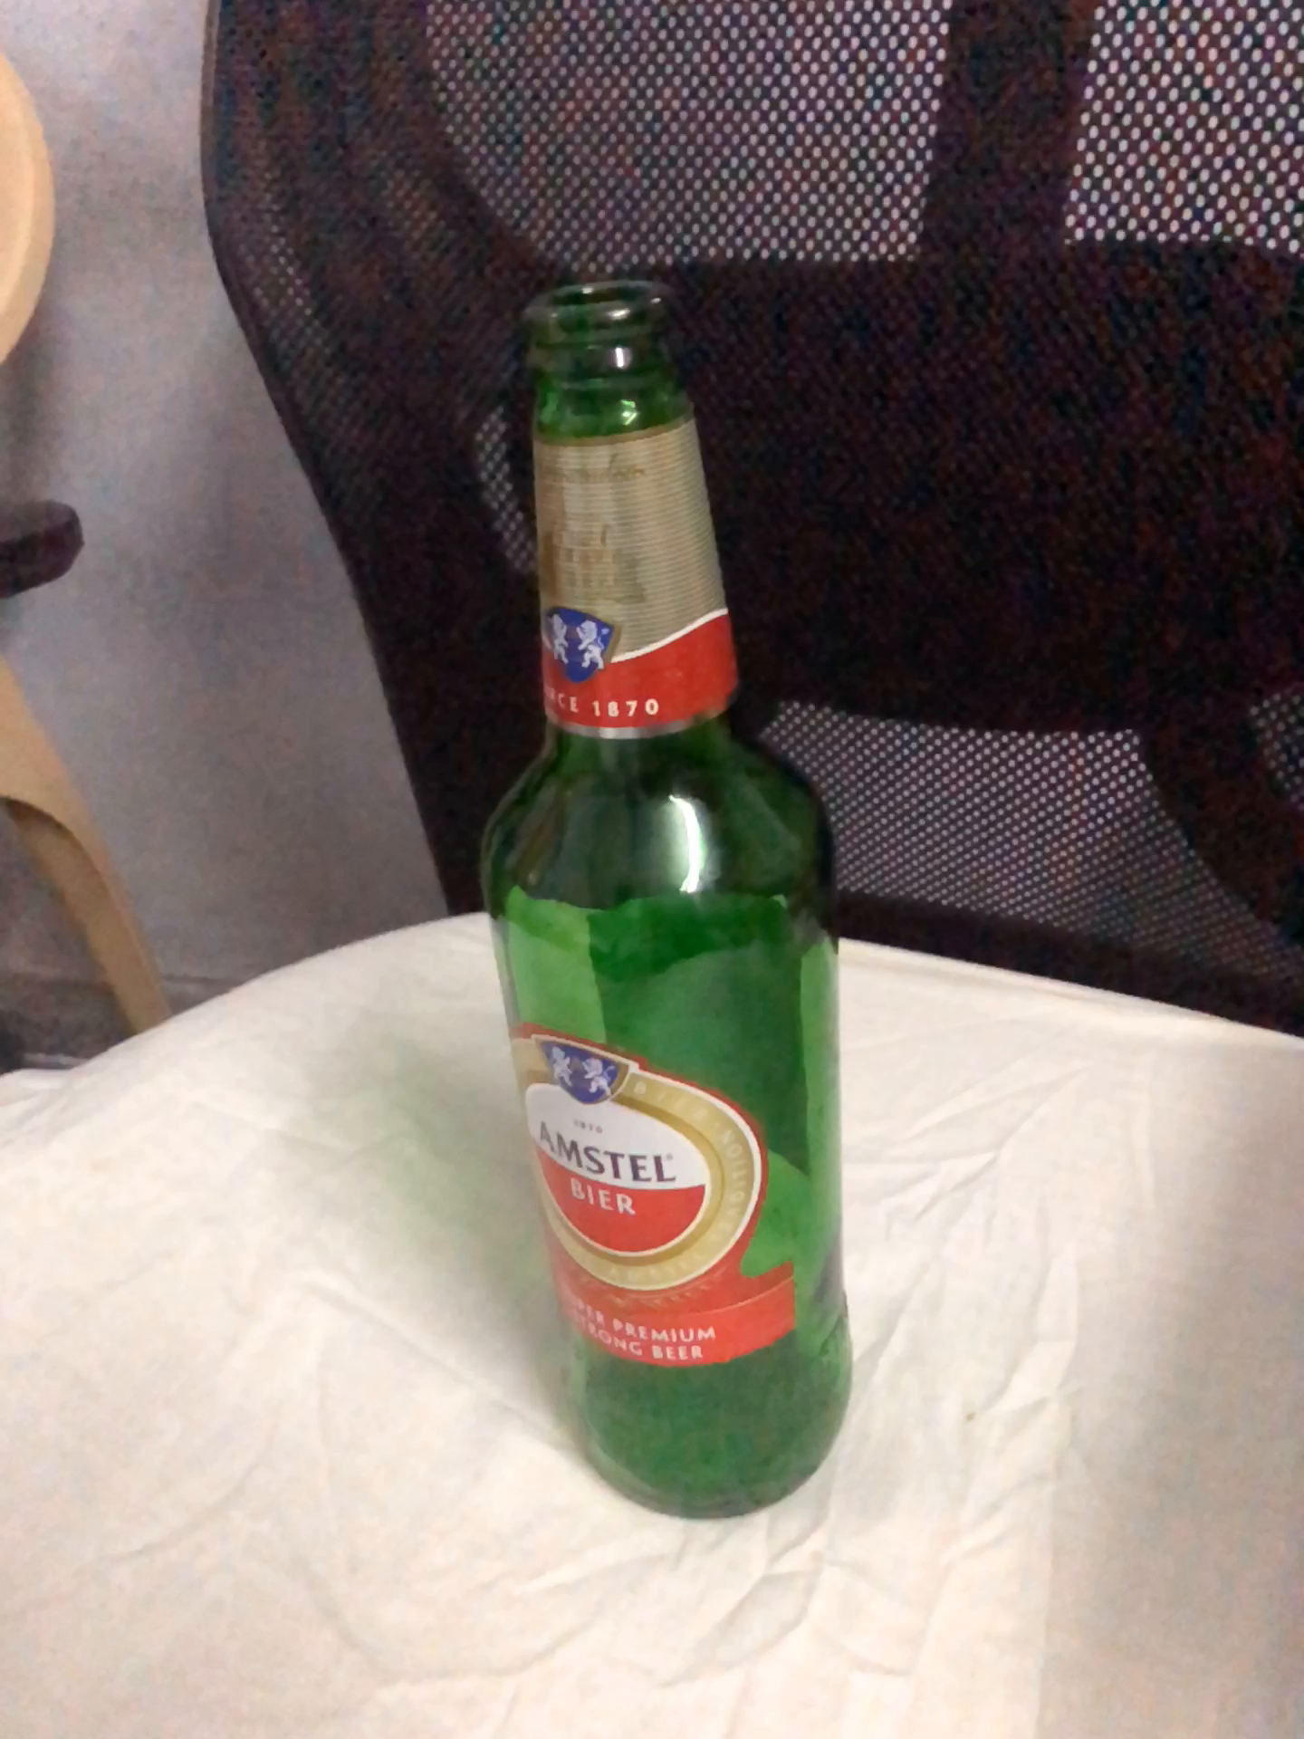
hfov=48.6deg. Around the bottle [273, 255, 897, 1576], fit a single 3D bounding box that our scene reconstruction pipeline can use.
[{"bbox_3d":[0.000,0.027,0.304,0.080,0.279,0.060,12,36,23],"label":"bottle"}]
